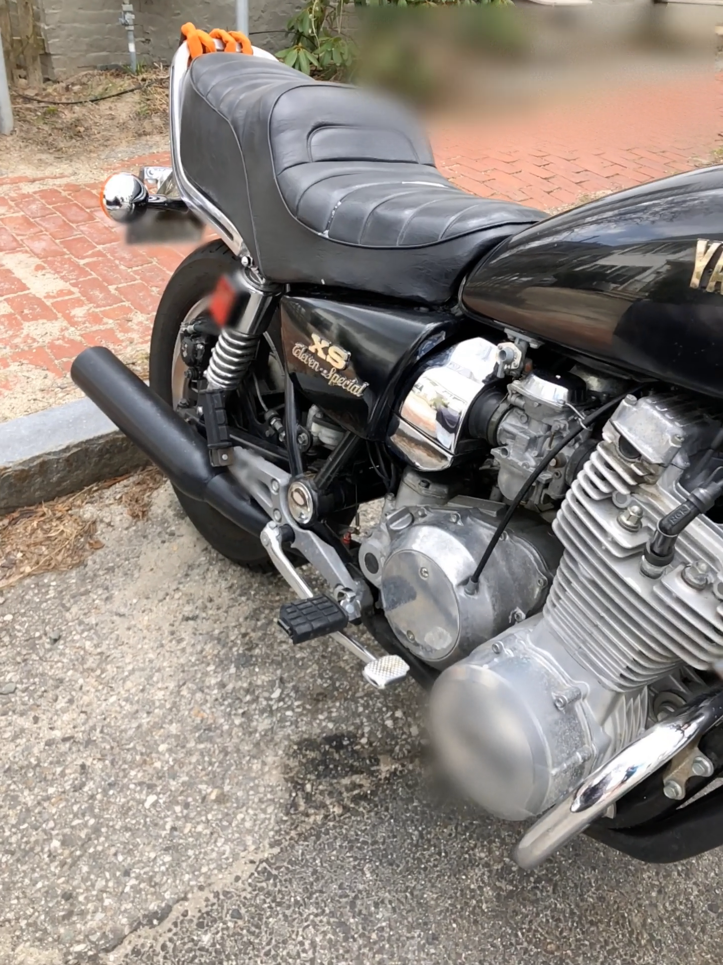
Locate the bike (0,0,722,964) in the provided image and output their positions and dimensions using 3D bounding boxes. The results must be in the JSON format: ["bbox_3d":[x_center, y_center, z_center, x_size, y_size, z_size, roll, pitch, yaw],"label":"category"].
[{"bbox_3d":[0.402,-0.035,0.898,0.712,1.157,1.970,-26,46,-38],"label":"bike"}]
